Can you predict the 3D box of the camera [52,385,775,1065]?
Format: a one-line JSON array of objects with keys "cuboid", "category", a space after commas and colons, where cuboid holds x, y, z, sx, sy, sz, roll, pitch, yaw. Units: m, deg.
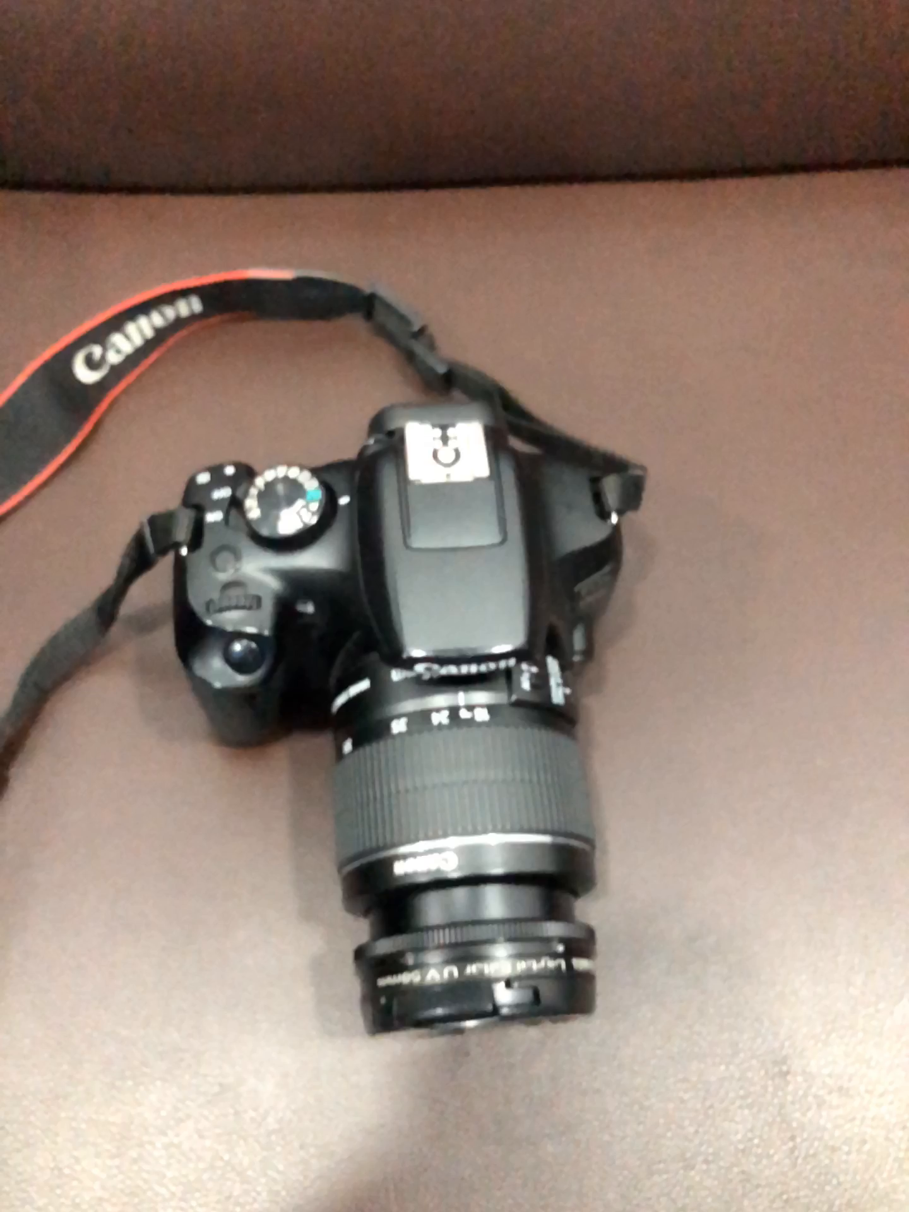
[{"cuboid": [-0.012, 0.031, 0.256, 0.130, 0.090, 0.140, -2, 62, -3], "category": "camera"}]
